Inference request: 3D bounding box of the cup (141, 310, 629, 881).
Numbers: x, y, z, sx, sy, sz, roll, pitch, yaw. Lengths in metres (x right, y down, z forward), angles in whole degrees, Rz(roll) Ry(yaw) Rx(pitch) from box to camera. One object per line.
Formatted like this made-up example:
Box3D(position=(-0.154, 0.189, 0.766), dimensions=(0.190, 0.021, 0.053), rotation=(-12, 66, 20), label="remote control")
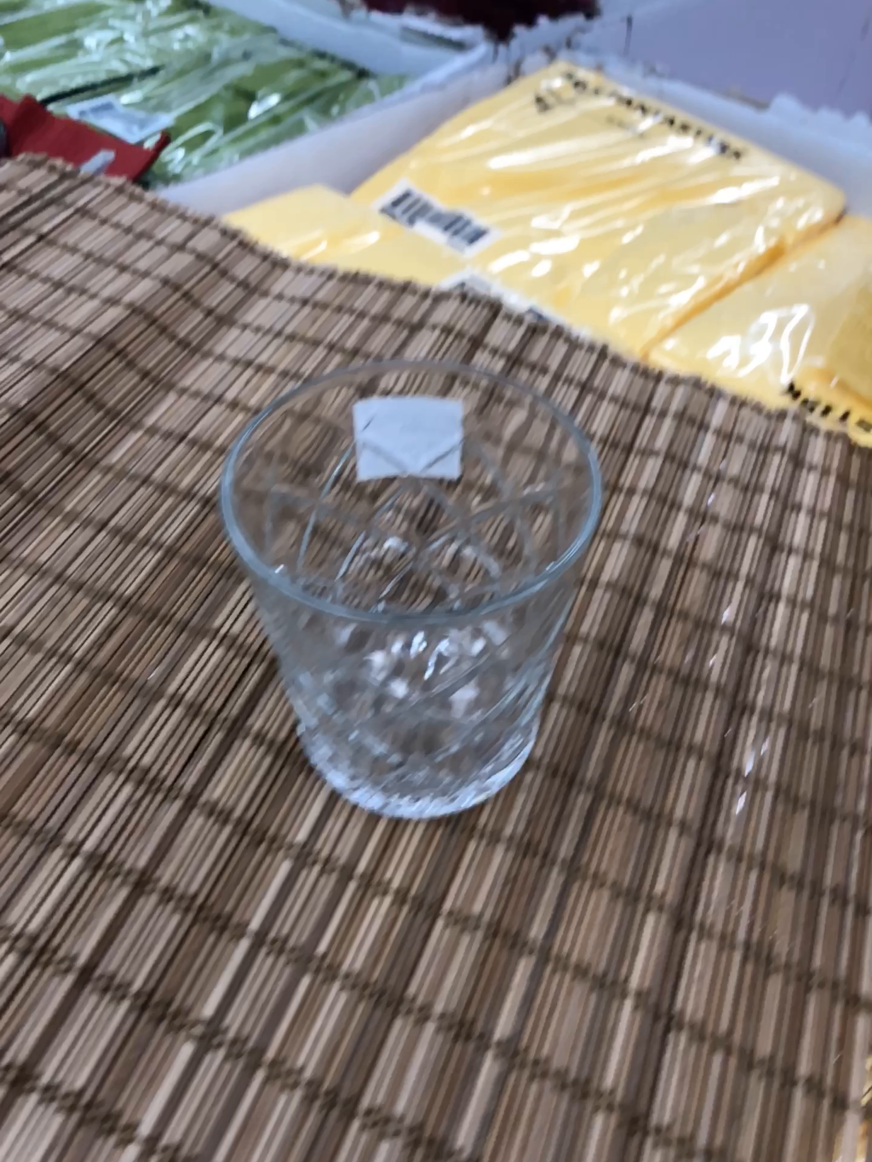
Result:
Box3D(position=(-0.007, 0.004, 0.229), dimensions=(0.080, 0.090, 0.080), rotation=(2, 46, -2), label="cup")
